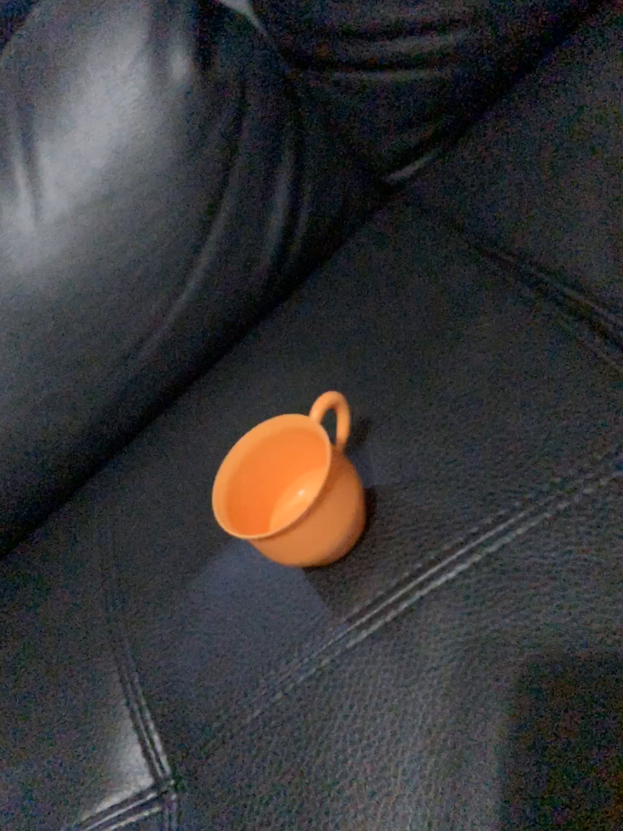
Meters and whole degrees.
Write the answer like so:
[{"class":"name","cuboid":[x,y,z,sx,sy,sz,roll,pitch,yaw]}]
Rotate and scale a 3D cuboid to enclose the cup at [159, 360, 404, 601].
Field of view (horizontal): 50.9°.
[{"class":"cup","cuboid":[-0.011,0.024,0.281,0.063,0.046,0.081,9,64,41]}]
